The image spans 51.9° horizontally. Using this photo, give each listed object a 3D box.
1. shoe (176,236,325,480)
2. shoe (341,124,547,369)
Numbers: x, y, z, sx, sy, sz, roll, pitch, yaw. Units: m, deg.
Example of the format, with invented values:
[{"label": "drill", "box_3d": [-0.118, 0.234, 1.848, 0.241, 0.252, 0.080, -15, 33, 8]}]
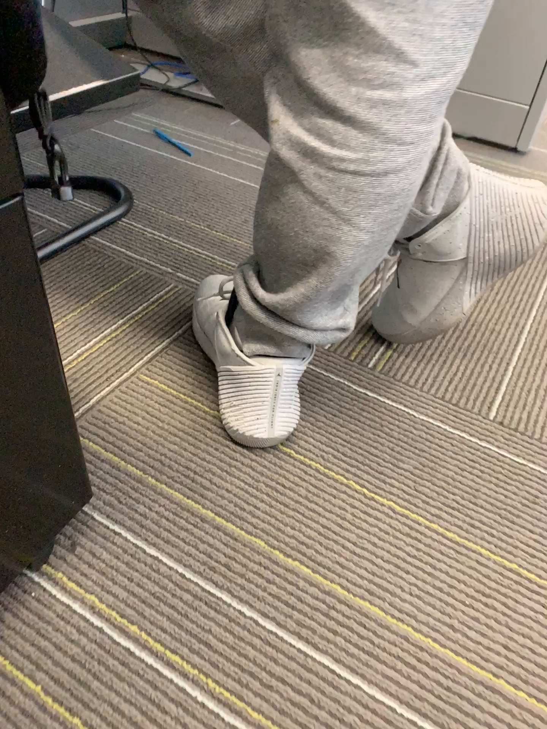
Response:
[{"label": "shoe", "box_3d": [-0.044, -0.022, 0.708, 0.130, 0.149, 0.282, -4, 43, -11]}, {"label": "shoe", "box_3d": [0.213, -0.126, 0.700, 0.120, 0.279, 0.121, 23, 56, -13]}]
